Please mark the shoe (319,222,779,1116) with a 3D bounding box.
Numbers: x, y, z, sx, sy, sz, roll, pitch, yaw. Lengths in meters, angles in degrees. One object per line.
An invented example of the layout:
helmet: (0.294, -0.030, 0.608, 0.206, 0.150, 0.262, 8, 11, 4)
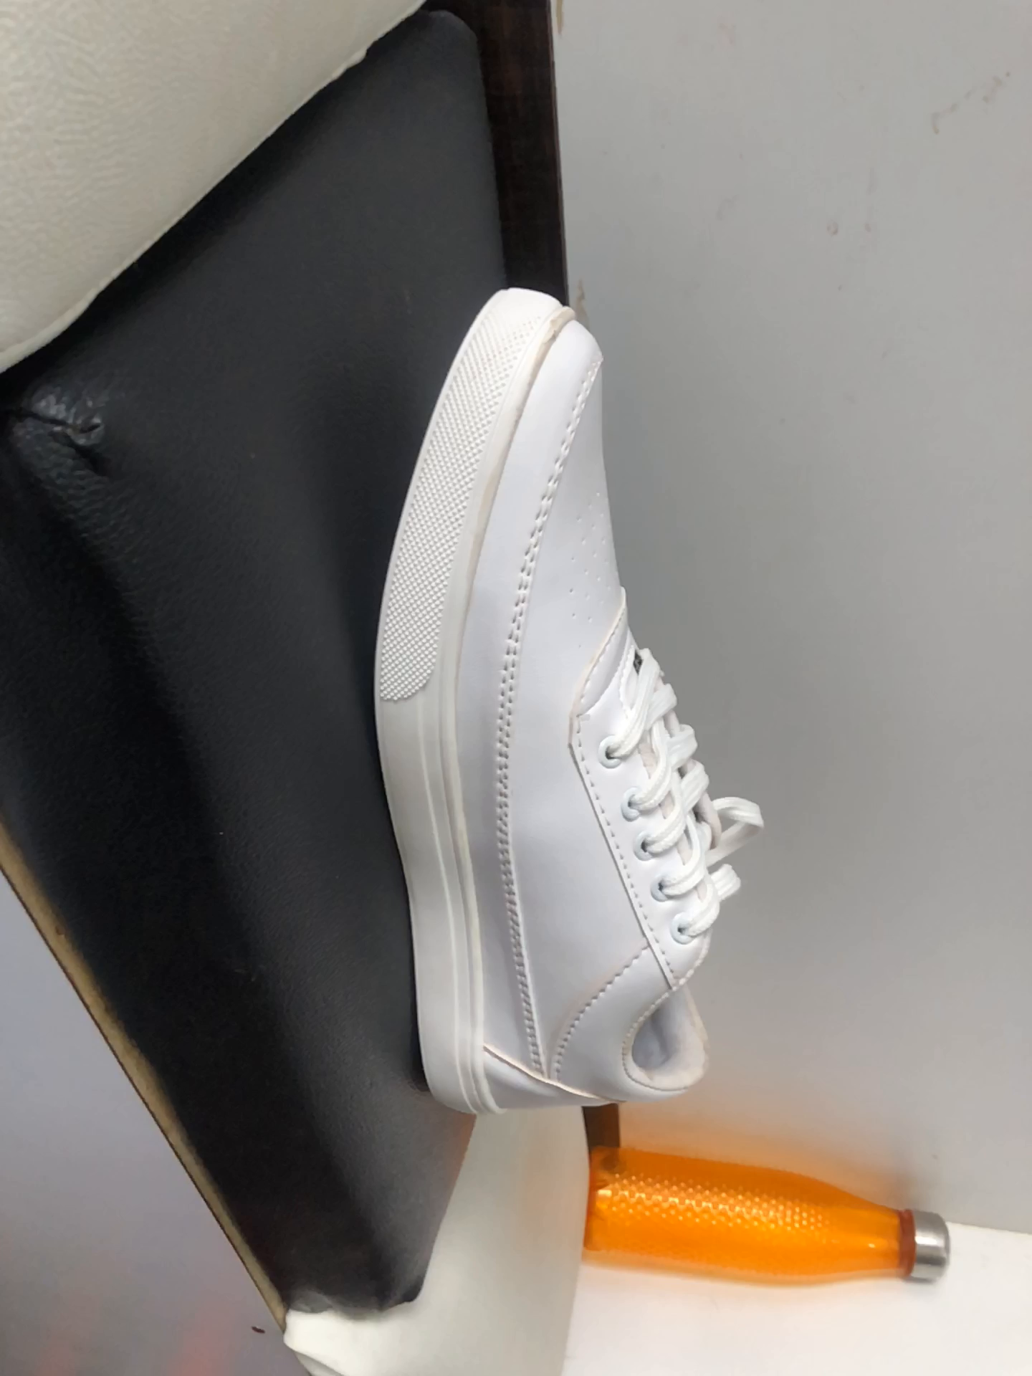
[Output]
shoe: (0.027, 0.002, 0.411, 0.130, 0.110, 0.291, -71, 161, -53)
